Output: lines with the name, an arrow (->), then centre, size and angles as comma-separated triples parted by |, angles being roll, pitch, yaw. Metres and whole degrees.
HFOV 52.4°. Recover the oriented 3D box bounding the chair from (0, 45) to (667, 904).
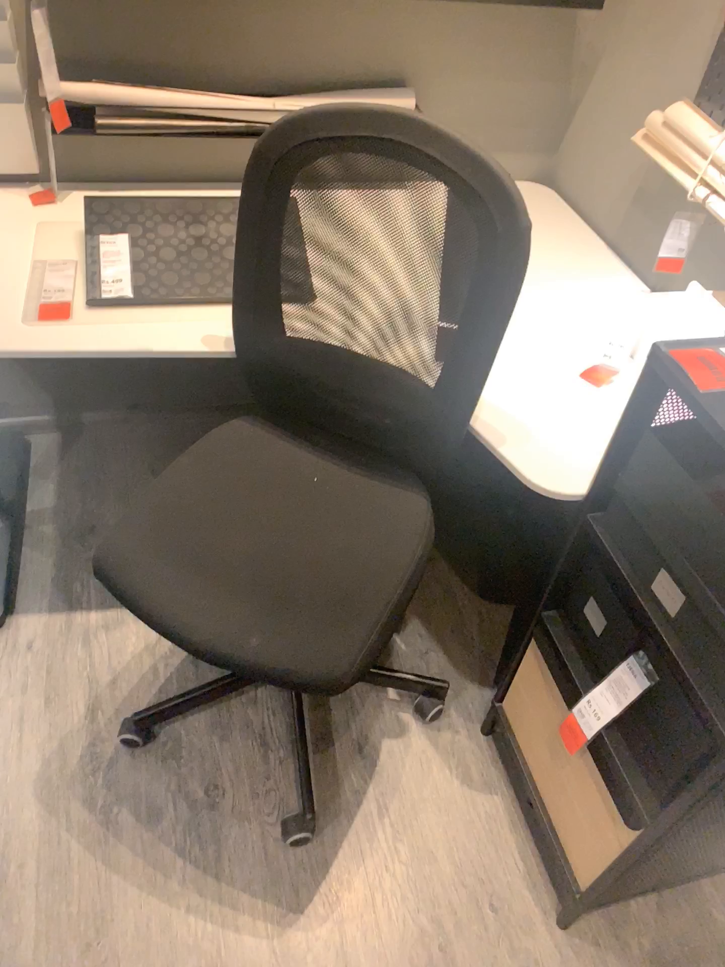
chair -> -0.110, 0.000, 1.197 | 0.691, 0.996, 0.712 | 24, 47, 16
